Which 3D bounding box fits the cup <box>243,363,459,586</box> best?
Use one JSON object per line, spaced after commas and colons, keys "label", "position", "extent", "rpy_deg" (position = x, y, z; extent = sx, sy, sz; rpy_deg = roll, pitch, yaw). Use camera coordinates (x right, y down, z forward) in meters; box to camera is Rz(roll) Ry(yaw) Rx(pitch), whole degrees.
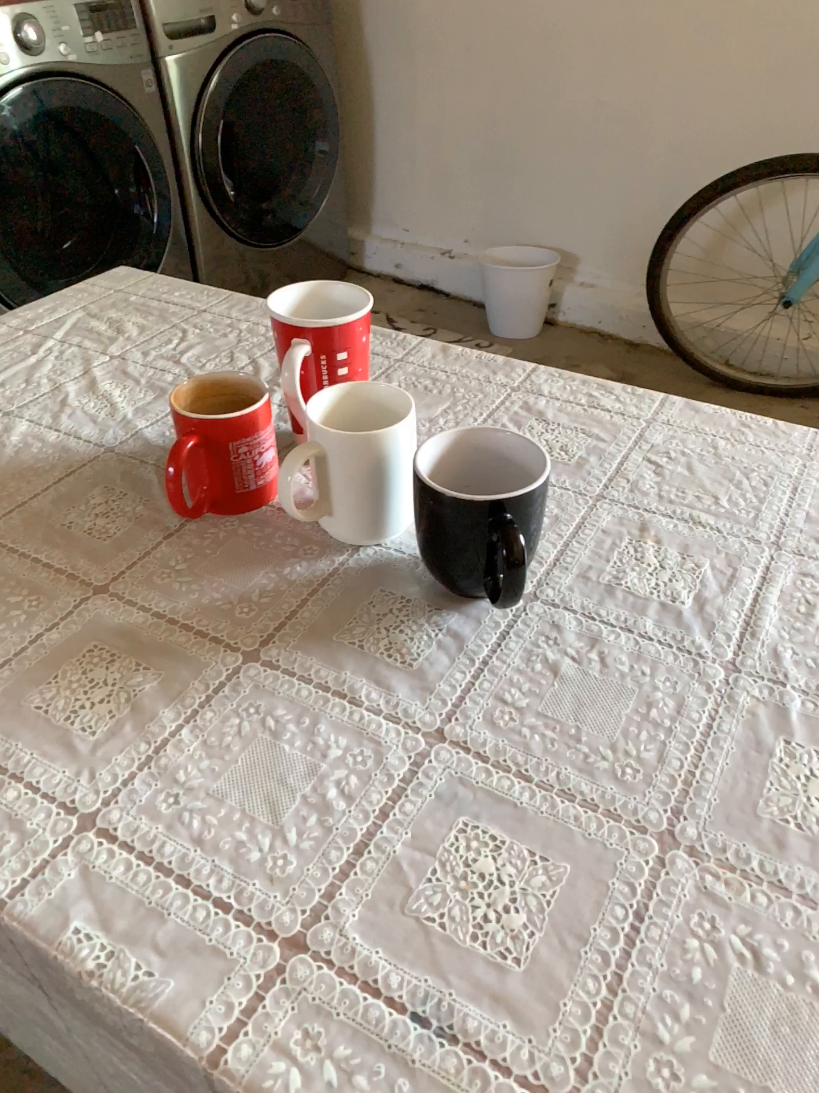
{"label": "cup", "position": [-0.044, -0.064, 0.696], "extent": [0.140, 0.109, 0.100], "rpy_deg": [-31, 47, -32]}

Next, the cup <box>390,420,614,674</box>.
{"label": "cup", "position": [0.058, -0.006, 0.606], "extent": [0.110, 0.090, 0.161], "rpy_deg": [-9, 39, -9]}

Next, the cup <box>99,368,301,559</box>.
{"label": "cup", "position": [-0.174, -0.076, 0.723], "extent": [0.090, 0.090, 0.140], "rpy_deg": [16, 42, 21]}

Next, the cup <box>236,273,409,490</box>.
{"label": "cup", "position": [-0.073, -0.157, 0.781], "extent": [0.100, 0.139, 0.140], "rpy_deg": [12, 40, 17]}
